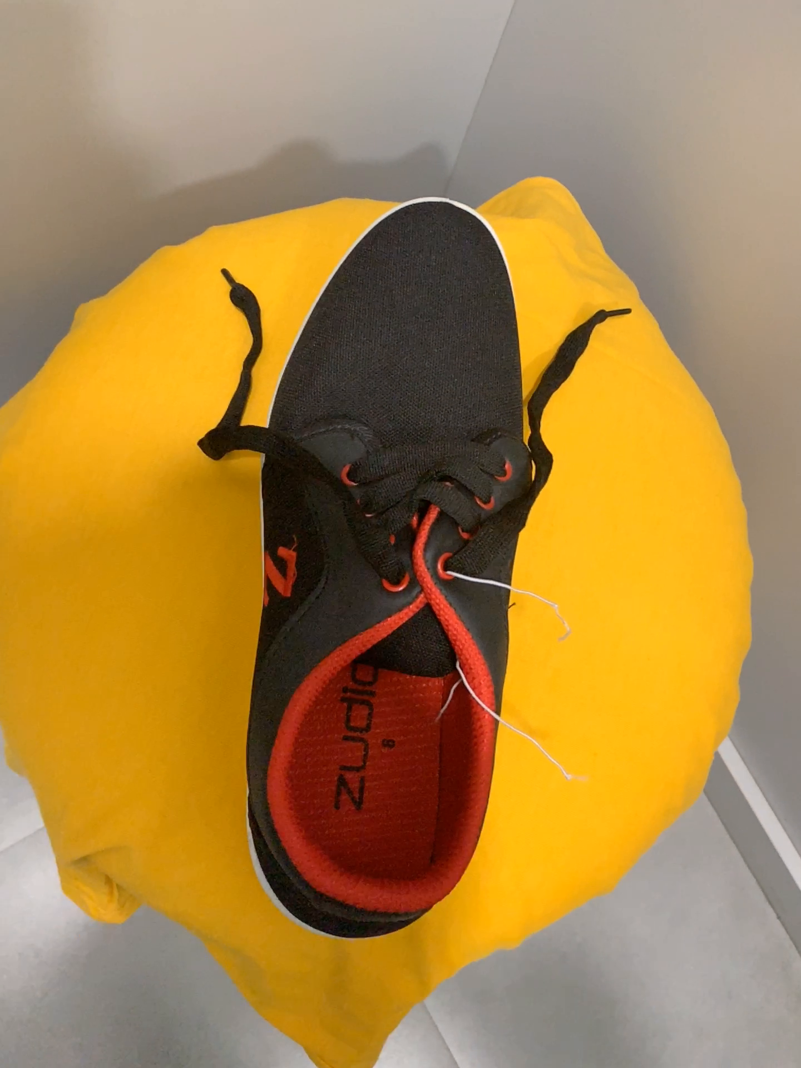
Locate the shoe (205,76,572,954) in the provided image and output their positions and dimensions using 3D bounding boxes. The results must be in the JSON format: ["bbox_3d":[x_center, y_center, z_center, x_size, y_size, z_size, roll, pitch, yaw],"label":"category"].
[{"bbox_3d":[-0.004,-0.008,0.304,0.090,0.100,0.270,7,78,-8],"label":"shoe"}]
